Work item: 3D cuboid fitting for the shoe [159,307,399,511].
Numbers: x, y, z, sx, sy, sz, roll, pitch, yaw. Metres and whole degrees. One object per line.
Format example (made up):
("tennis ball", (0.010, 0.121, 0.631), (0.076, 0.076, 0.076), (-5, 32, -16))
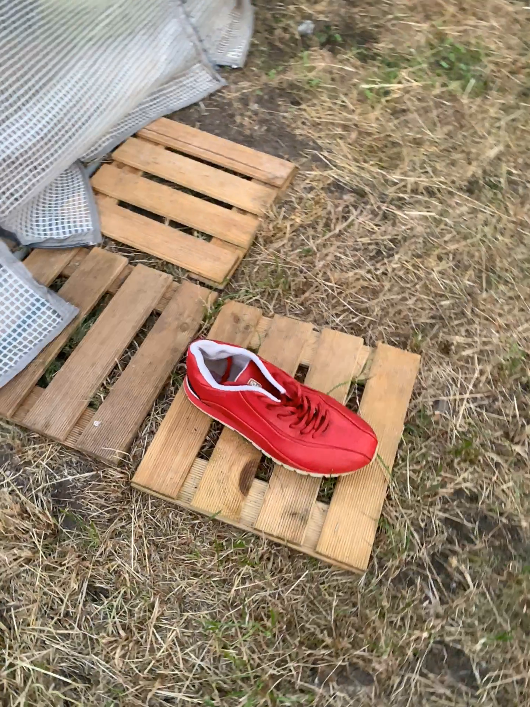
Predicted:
("shoe", (0.012, 0.066, 0.661), (0.261, 0.099, 0.100), (30, 63, 13))
